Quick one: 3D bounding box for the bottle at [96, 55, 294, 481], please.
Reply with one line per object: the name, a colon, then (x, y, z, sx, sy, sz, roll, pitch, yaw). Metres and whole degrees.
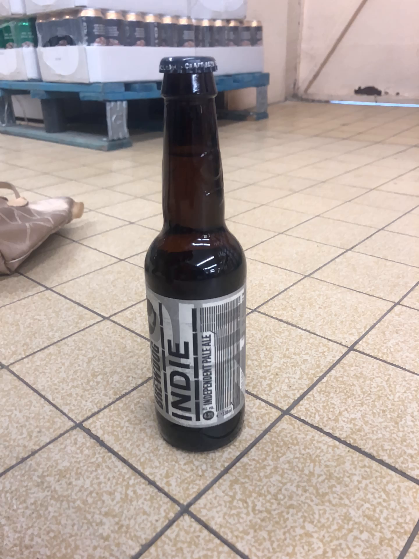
bottle: (-0.002, -0.004, 0.265, 0.070, 0.222, 0.070, -1, 24, 0)
